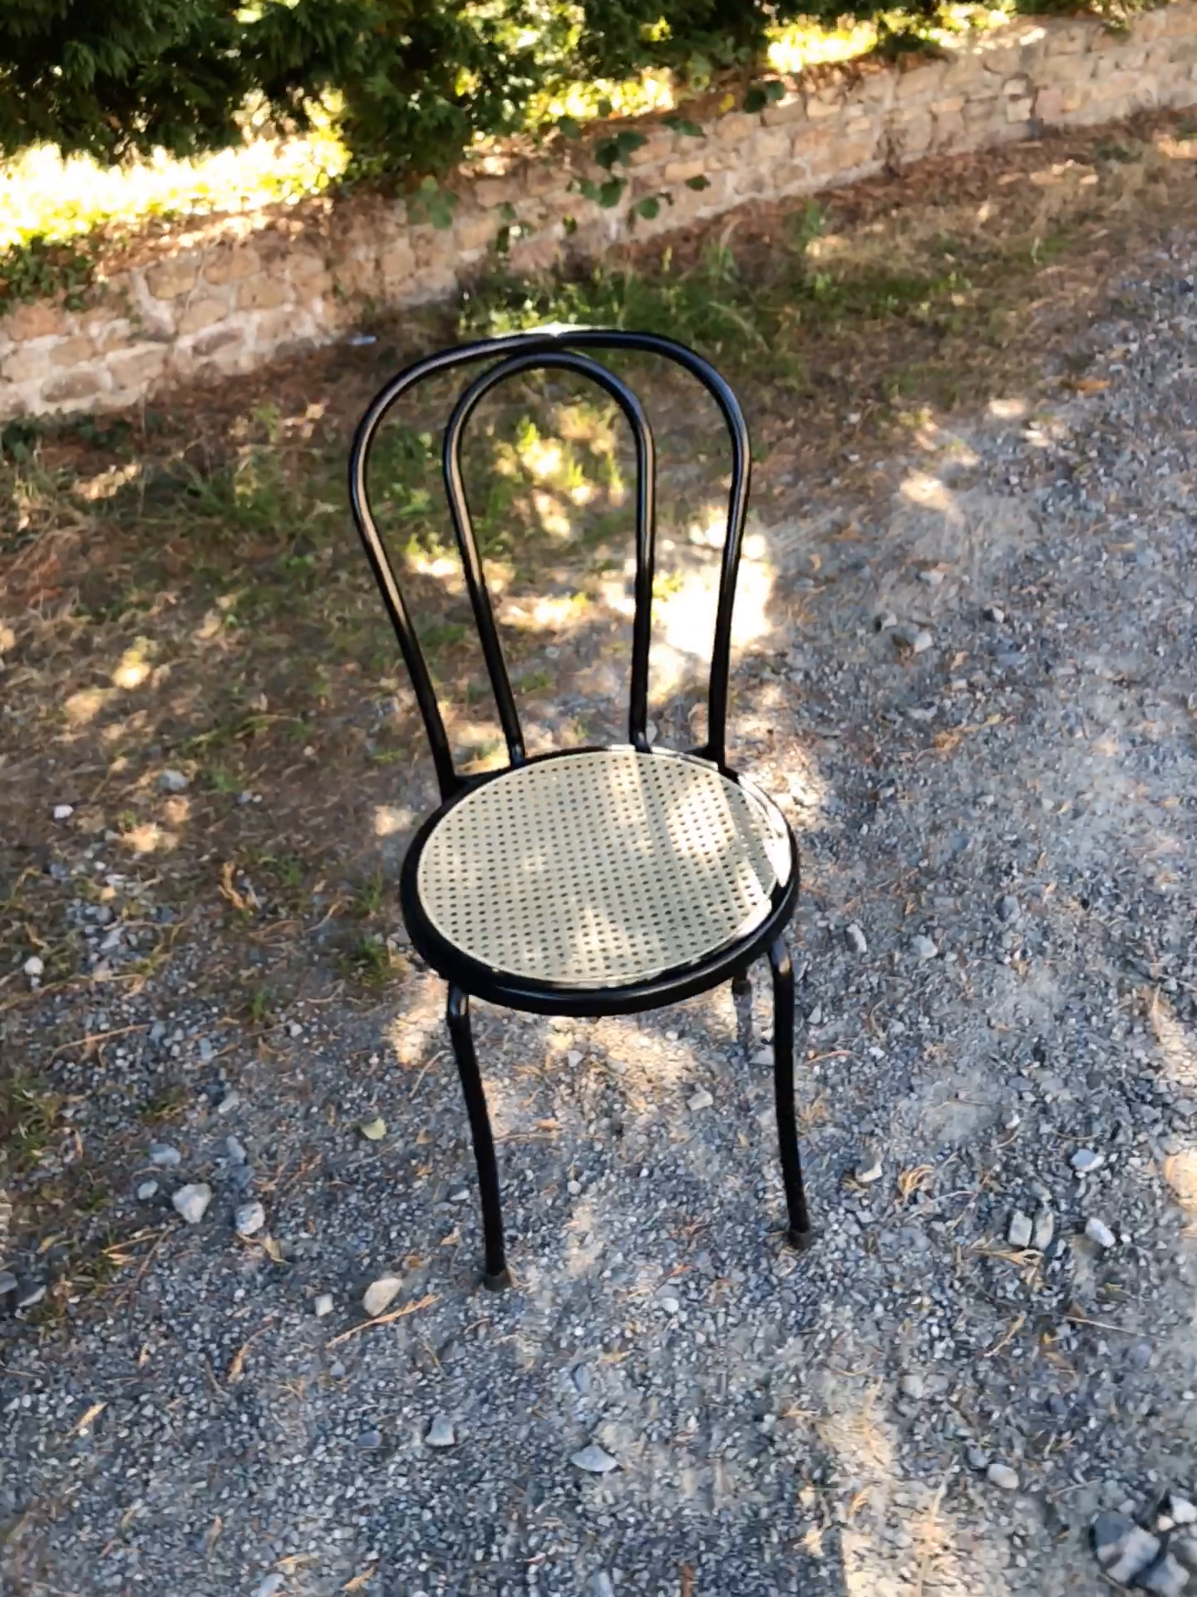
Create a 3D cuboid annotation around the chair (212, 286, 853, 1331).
[{"bbox_3d":[-0.027,0.023,1.311,0.430,0.875,0.472,-8,33,-3],"label":"chair"}]
